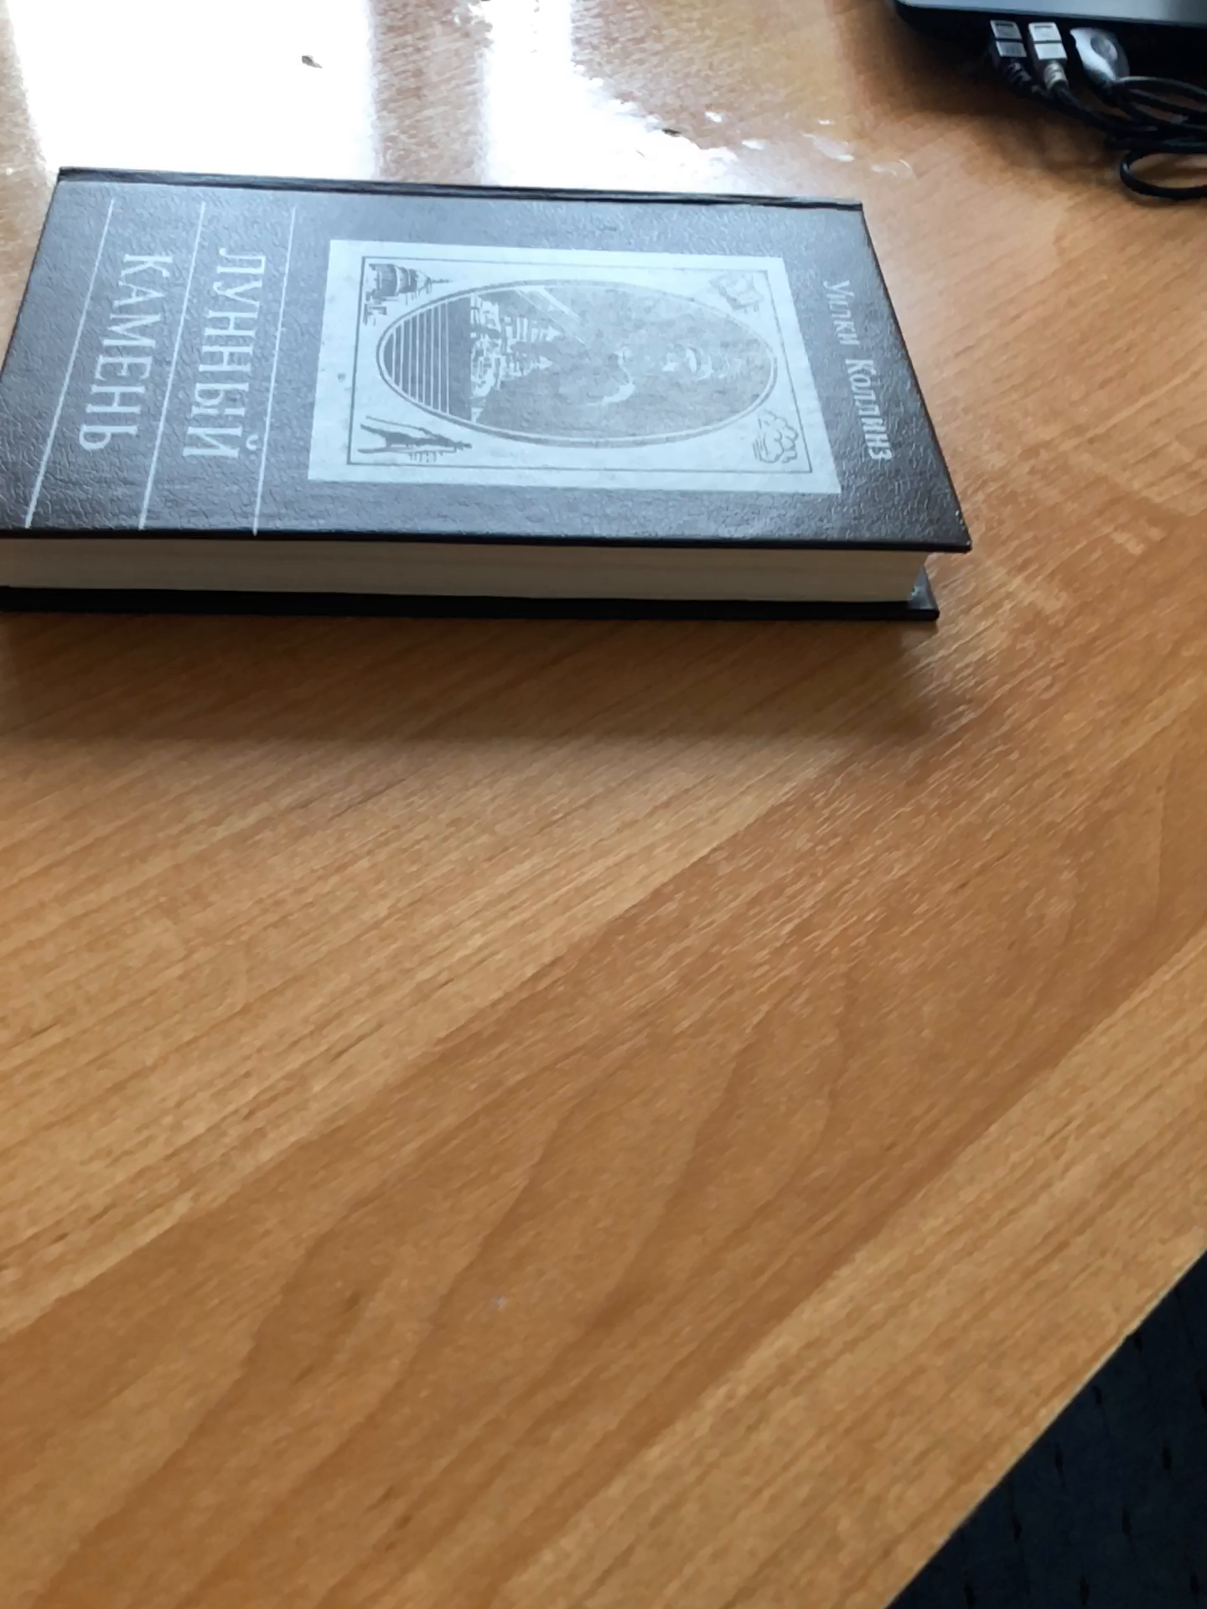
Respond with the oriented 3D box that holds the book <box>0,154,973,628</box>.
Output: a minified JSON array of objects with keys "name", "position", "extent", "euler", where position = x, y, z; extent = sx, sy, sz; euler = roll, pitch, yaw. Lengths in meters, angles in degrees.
[{"name":"book","position":[-0.030,-0.101,0.312],"extent":[0.199,0.032,0.134],"euler":[-1,53,-4]}]
